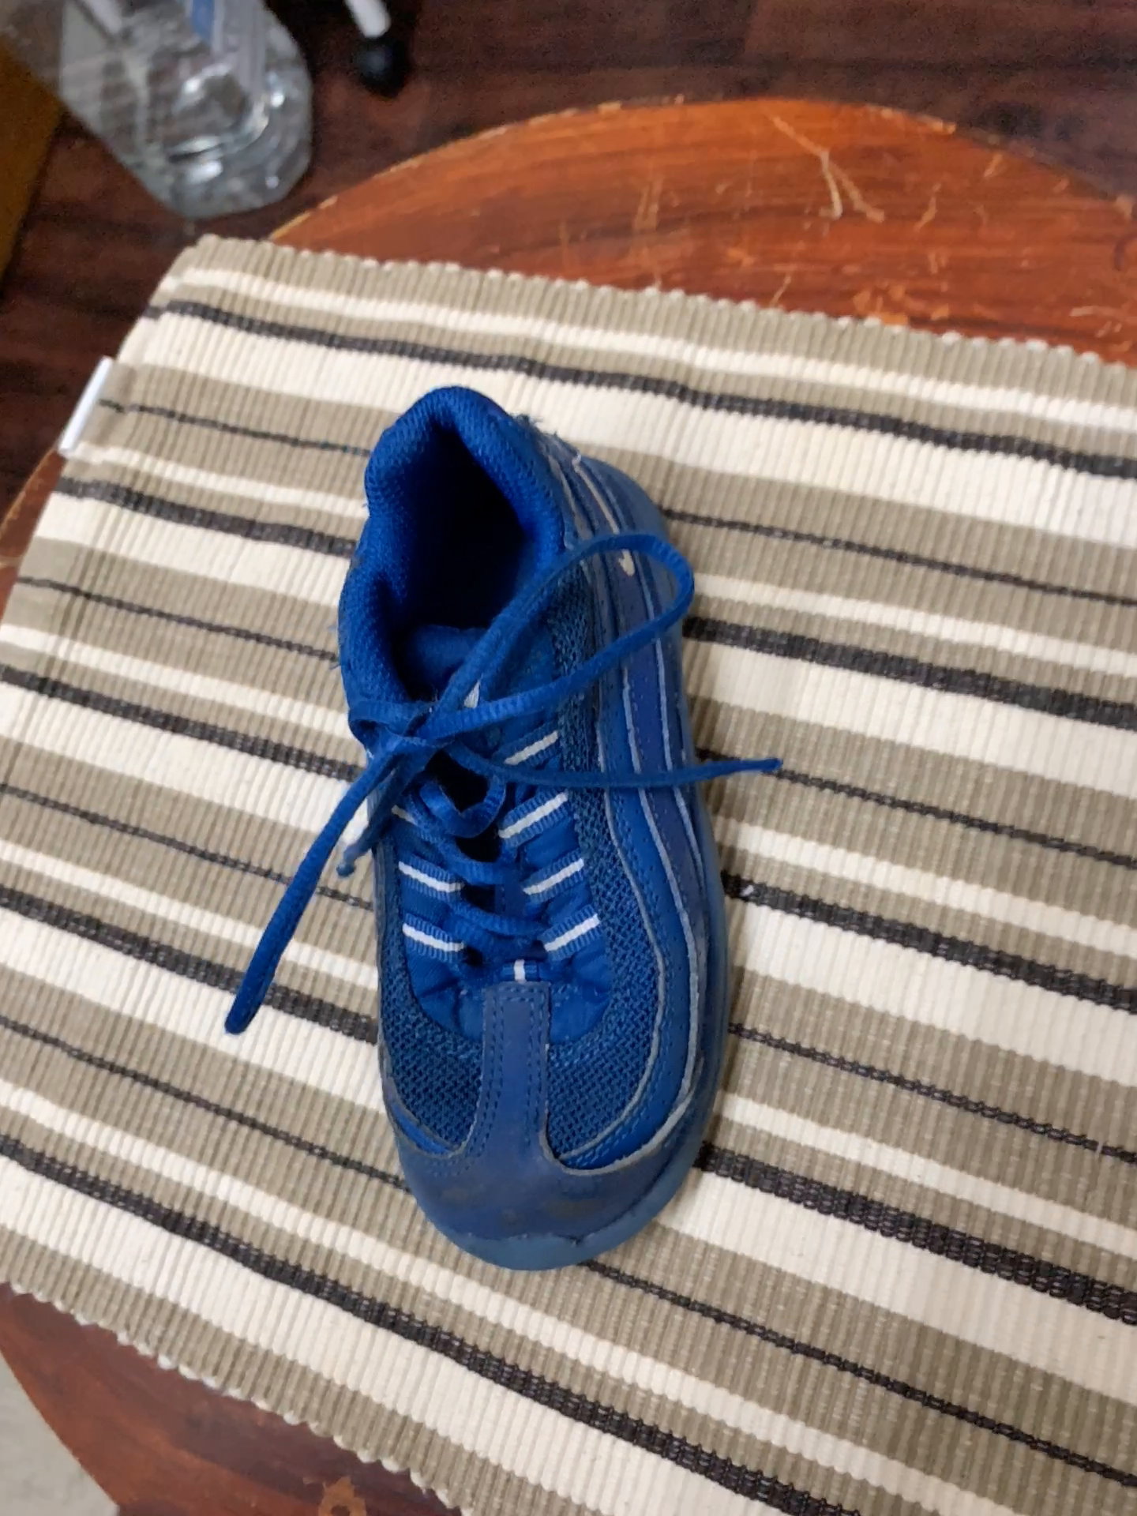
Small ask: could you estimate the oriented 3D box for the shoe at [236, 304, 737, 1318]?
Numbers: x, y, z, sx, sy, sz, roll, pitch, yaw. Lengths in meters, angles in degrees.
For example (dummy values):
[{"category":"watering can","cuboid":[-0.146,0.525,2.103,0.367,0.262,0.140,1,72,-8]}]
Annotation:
[{"category":"shoe","cuboid":[-0.007,0.010,0.248,0.073,0.079,0.175,-1,76,15]}]
